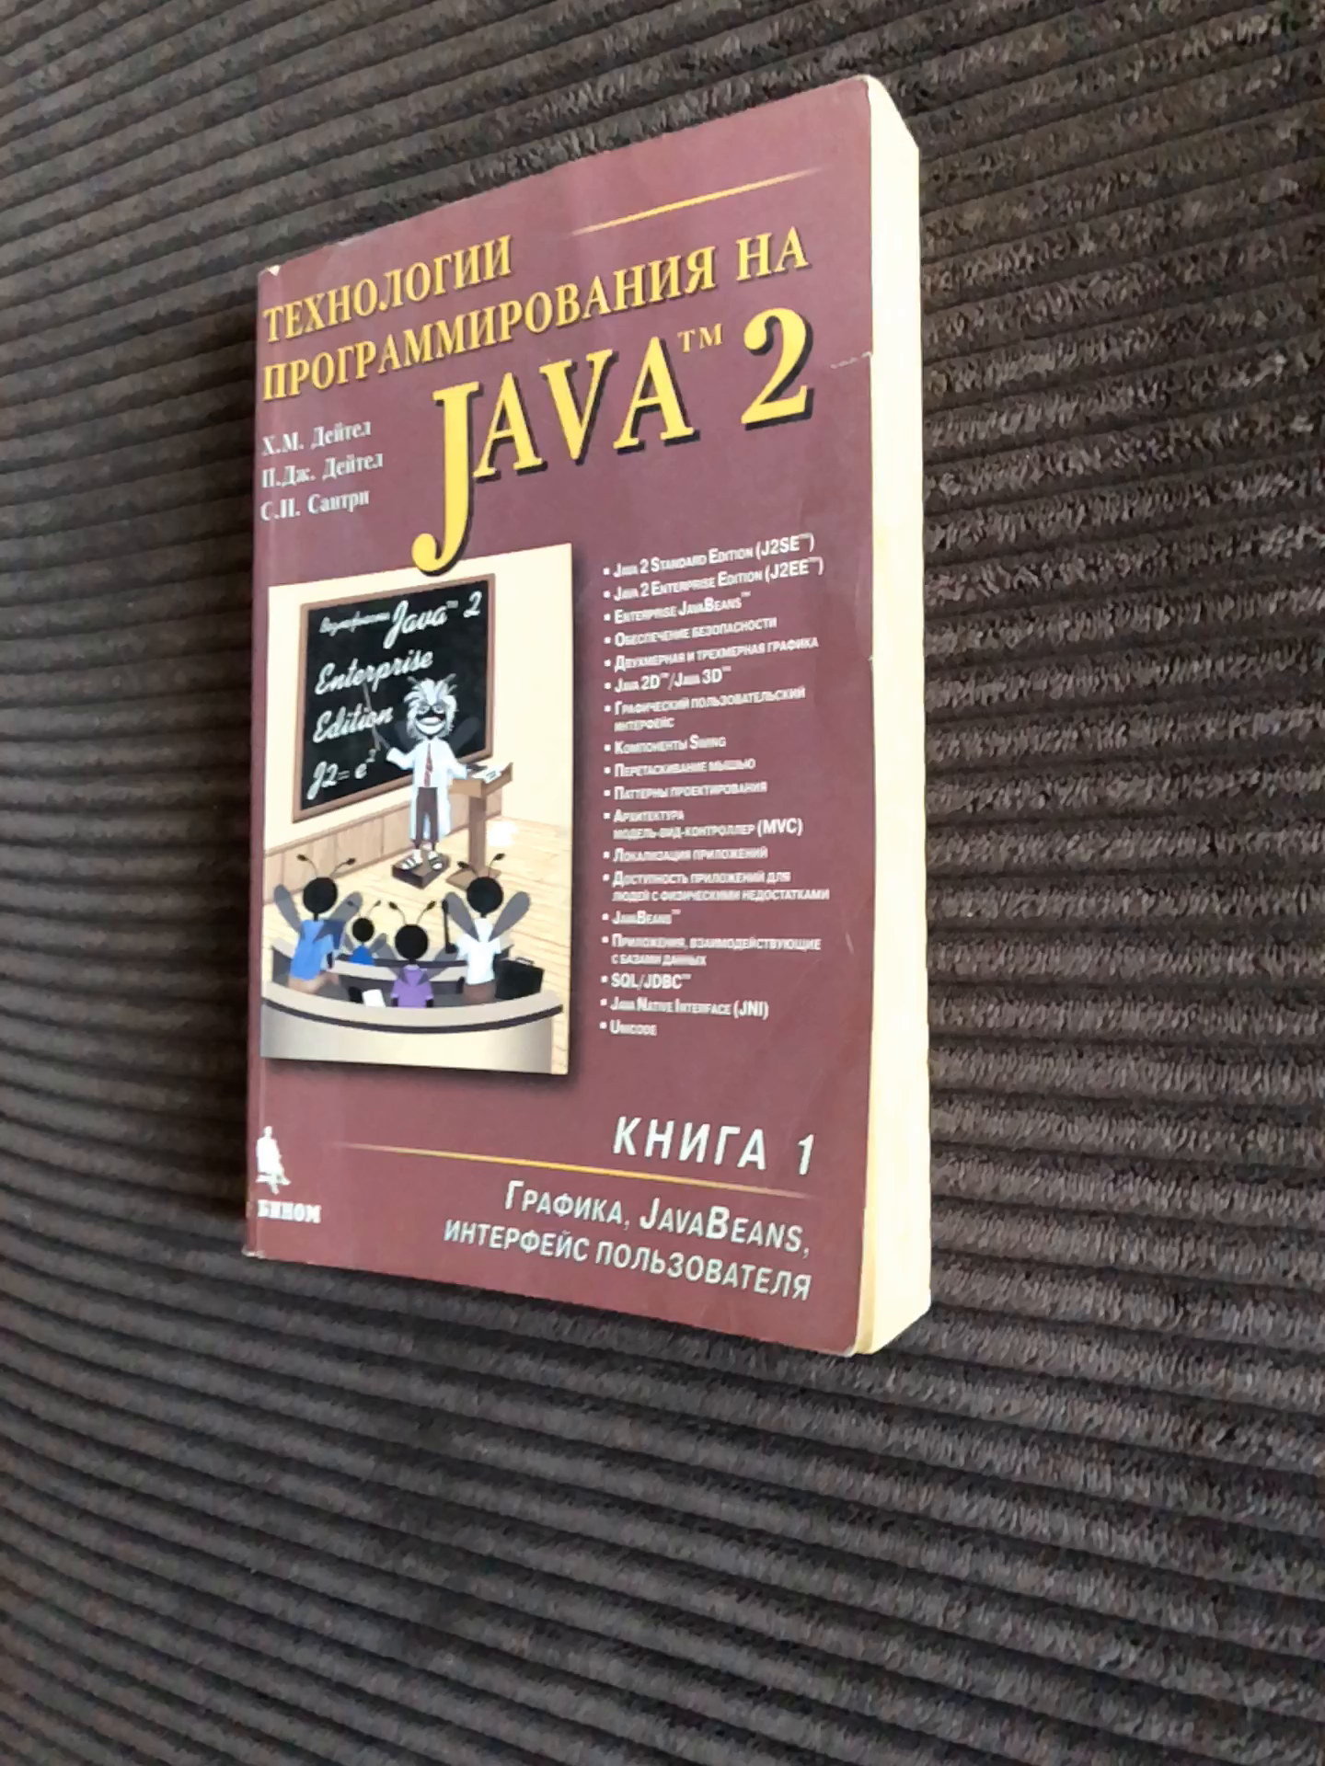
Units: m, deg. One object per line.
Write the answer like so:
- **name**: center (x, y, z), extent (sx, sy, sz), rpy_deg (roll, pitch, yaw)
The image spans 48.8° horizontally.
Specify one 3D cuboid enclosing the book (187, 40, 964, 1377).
- **book**: center (-0.023, -0.031, 0.322), extent (0.166, 0.050, 0.240), rpy_deg (-2, 84, 30)
